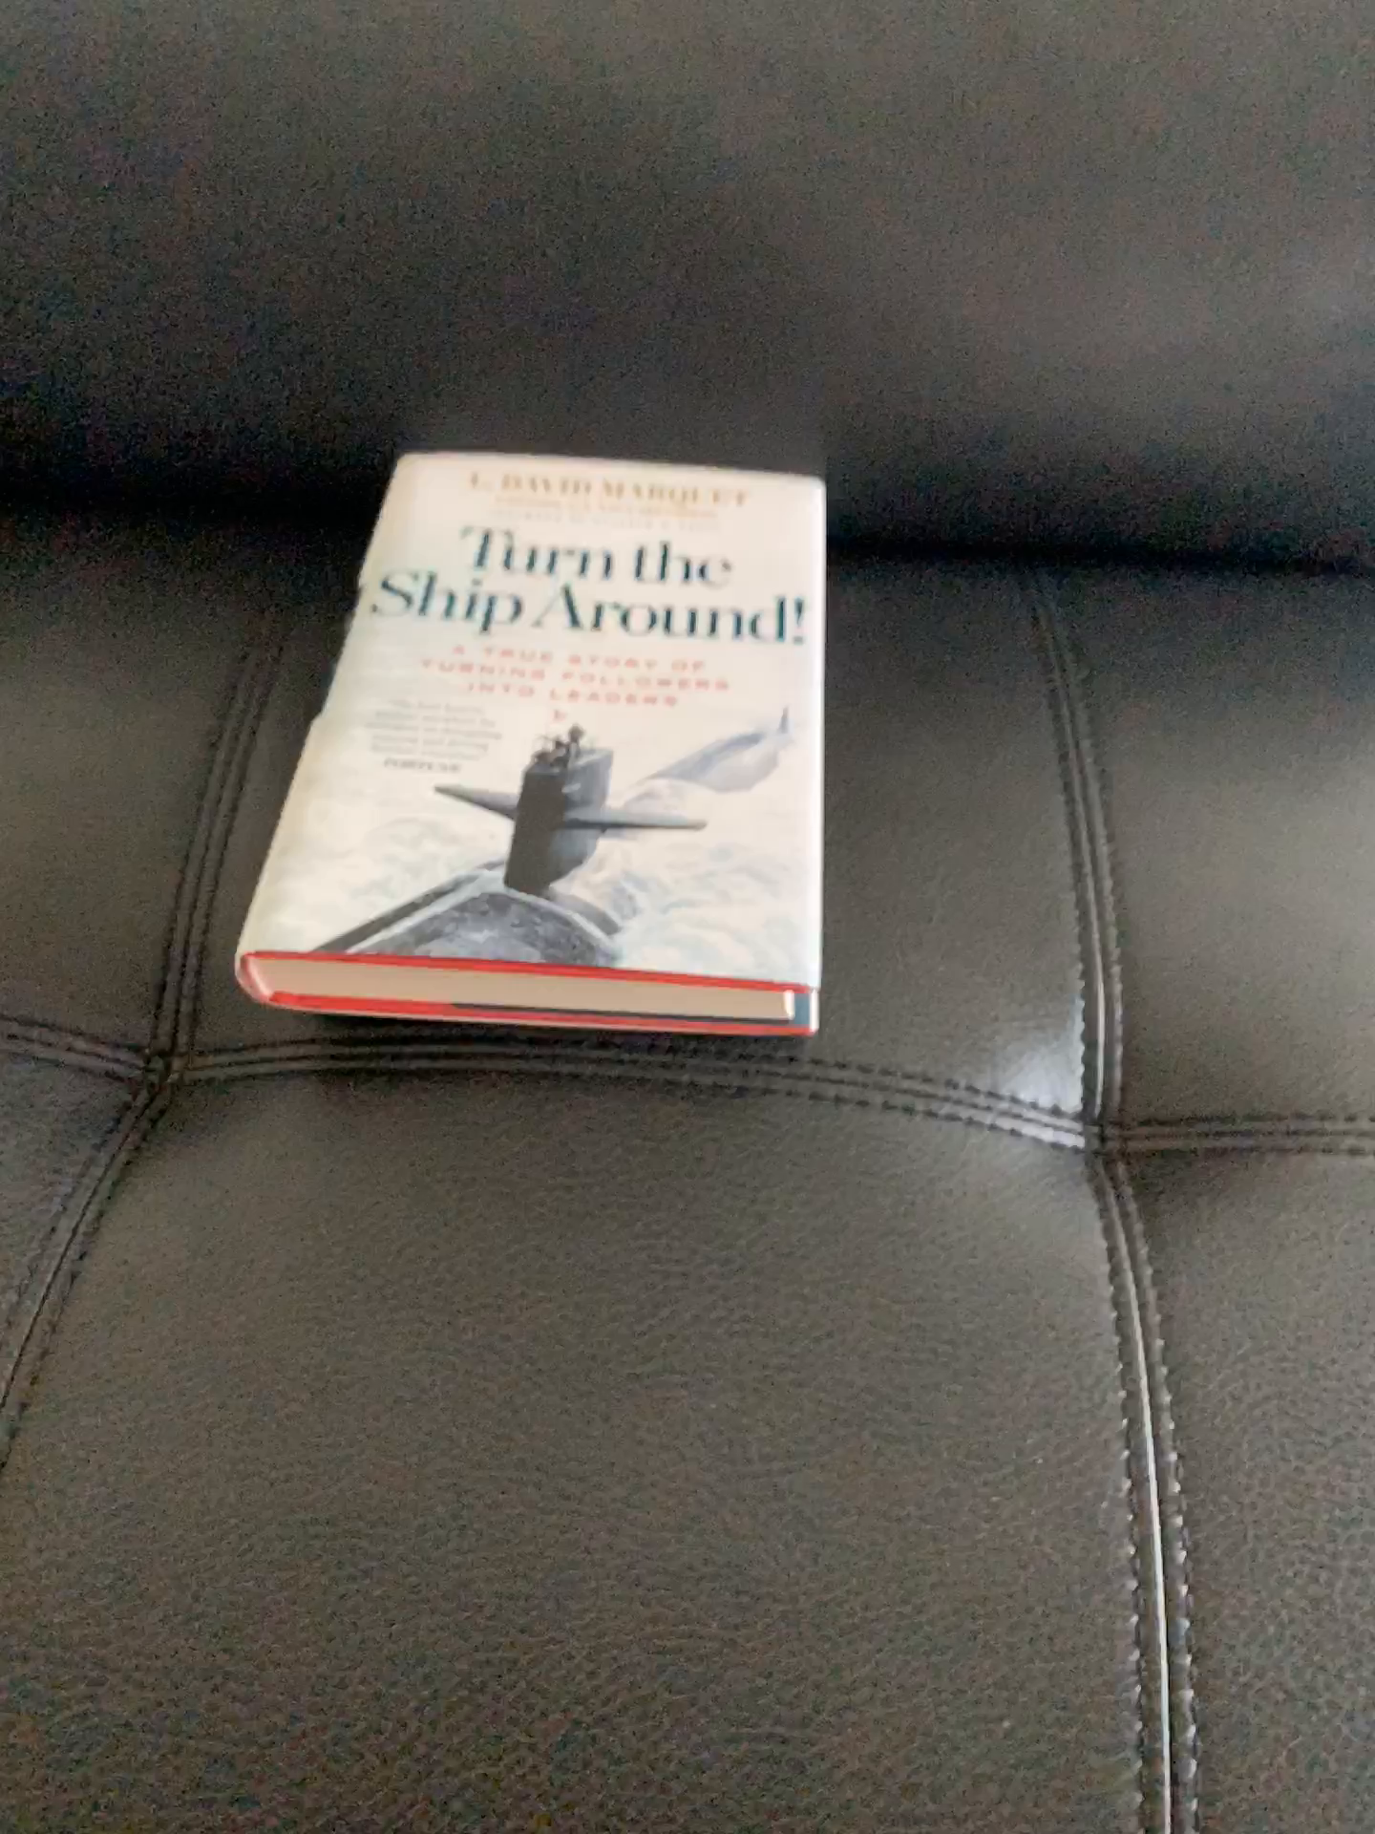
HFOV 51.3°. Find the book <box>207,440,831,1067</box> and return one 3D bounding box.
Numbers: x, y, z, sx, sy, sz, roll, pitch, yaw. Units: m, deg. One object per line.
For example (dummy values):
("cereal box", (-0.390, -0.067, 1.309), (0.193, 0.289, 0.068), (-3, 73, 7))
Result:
("book", (-0.034, -0.063, 0.431), (0.152, 0.029, 0.228), (4, 50, 1))
